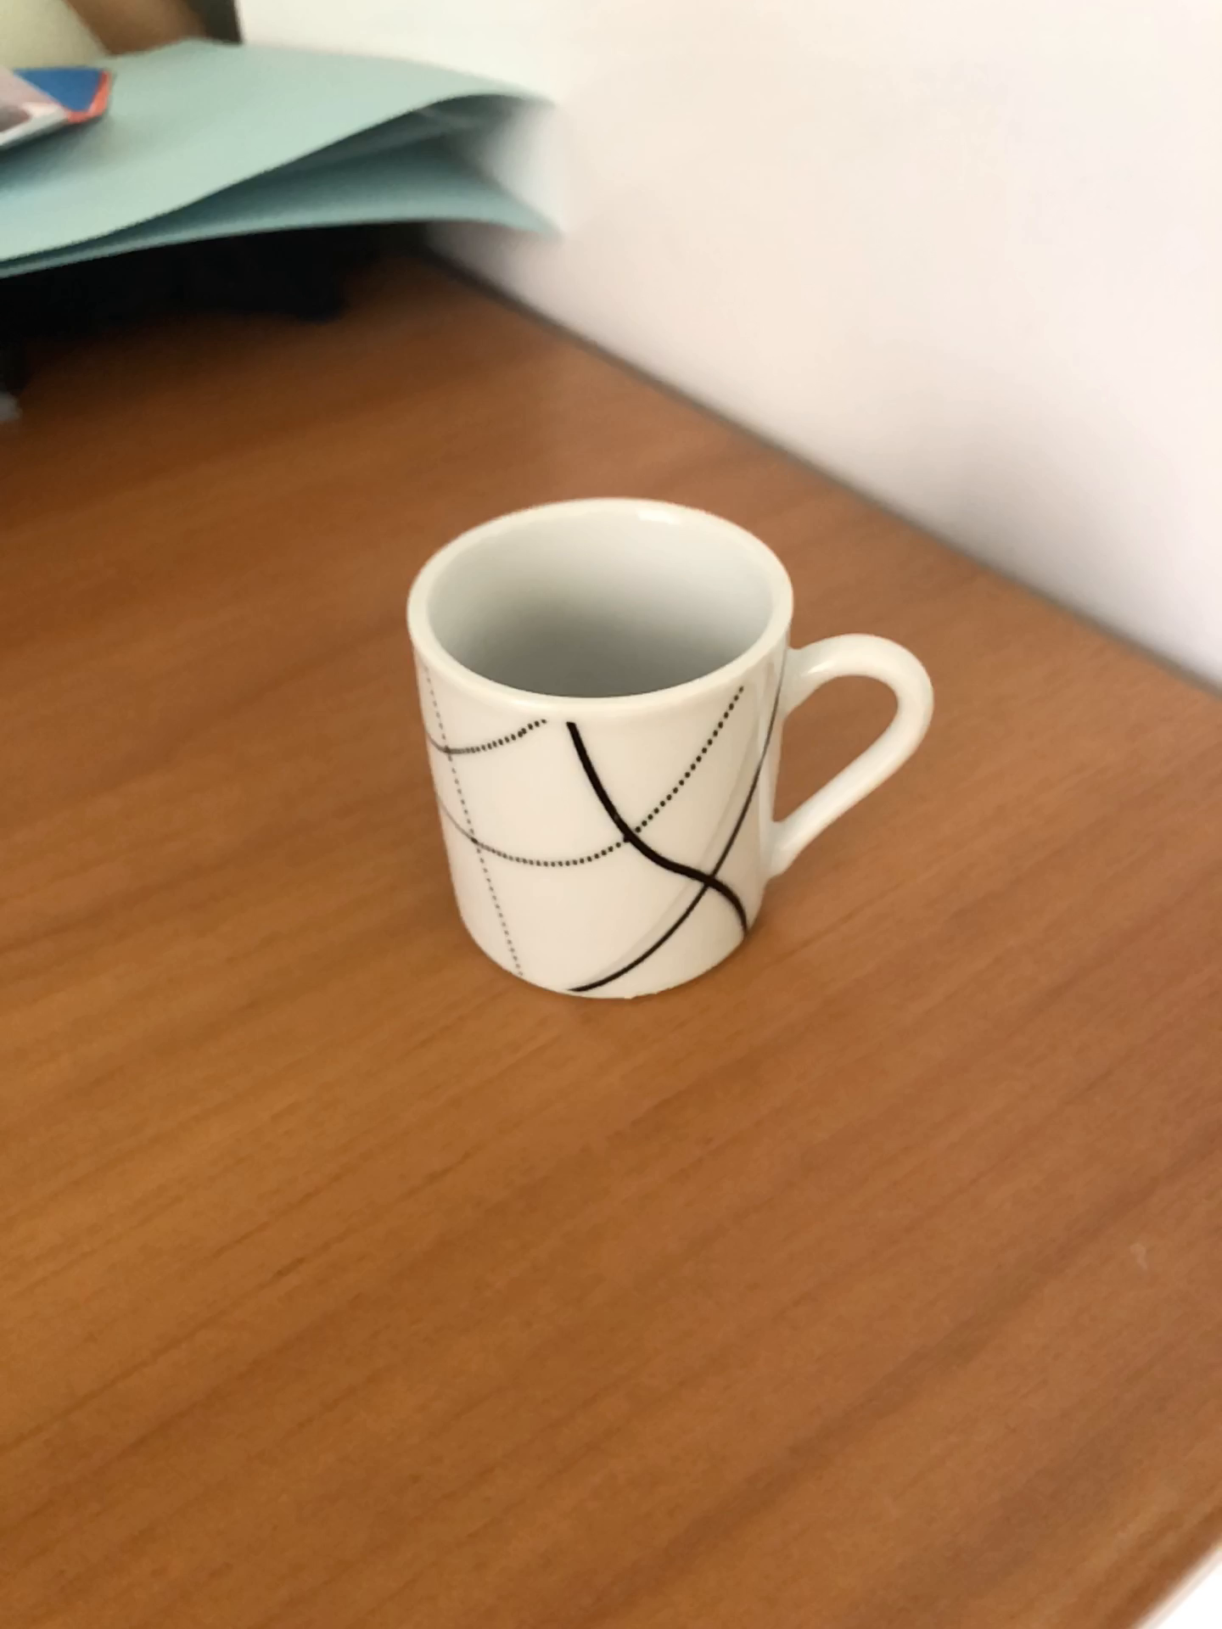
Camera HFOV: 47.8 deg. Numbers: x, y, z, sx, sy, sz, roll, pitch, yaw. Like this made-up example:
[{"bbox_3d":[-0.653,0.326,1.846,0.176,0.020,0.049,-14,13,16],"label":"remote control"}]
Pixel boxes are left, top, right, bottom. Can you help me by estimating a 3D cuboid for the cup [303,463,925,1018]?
[{"bbox_3d":[0.002,-0.012,0.194,0.070,0.050,0.060,1,41,3],"label":"cup"}]
